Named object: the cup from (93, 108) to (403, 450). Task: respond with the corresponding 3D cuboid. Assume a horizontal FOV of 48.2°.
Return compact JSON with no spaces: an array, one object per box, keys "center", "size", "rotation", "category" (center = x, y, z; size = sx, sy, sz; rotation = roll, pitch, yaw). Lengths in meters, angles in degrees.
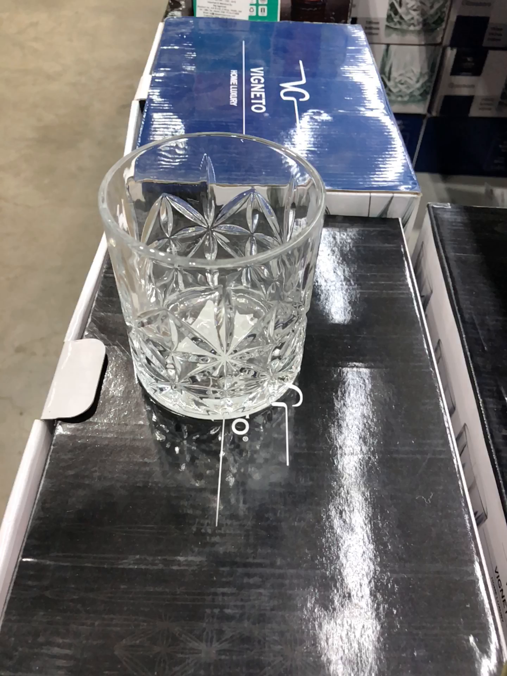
[{"center":[-0.011,-0.027,0.251],"size":[0.100,0.100,0.100],"rotation":[1,48,-2],"category":"cup"}]
